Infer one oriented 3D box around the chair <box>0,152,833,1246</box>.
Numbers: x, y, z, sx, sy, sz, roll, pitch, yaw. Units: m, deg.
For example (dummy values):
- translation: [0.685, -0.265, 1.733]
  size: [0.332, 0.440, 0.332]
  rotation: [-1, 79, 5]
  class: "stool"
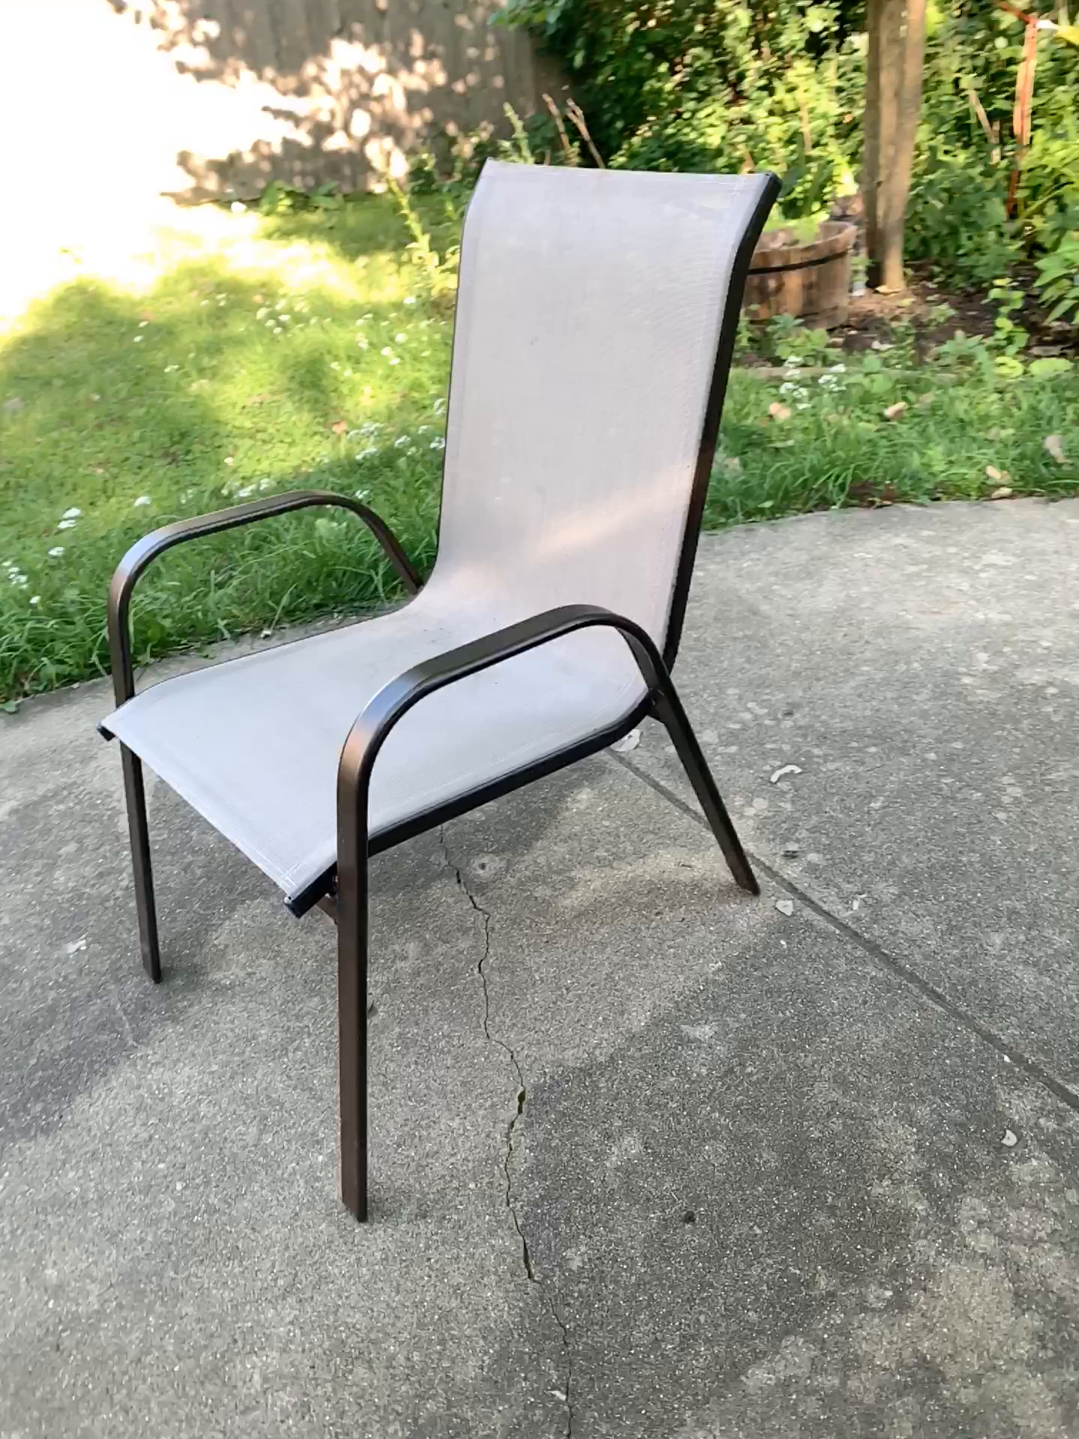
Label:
- translation: [-0.151, -0.088, 1.241]
  size: [0.741, 0.845, 0.572]
  rotation: [-31, 41, -30]
  class: "chair"
